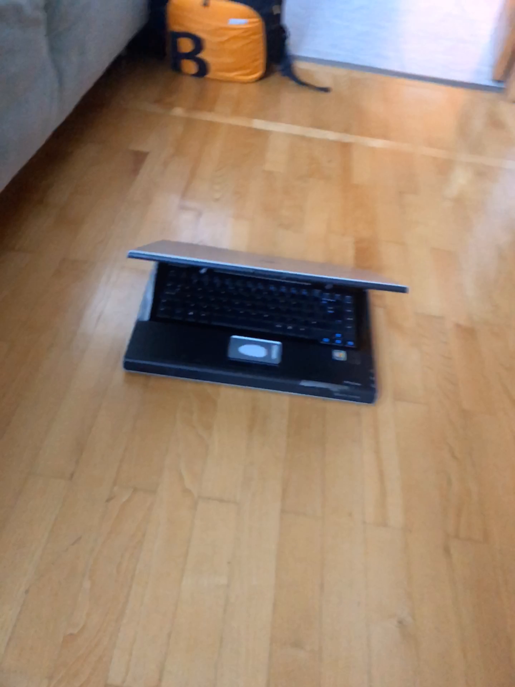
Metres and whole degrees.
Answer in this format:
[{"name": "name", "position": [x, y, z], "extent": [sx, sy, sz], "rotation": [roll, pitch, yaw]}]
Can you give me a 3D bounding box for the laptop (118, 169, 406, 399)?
[{"name": "laptop", "position": [0.010, -0.095, 0.837], "extent": [0.361, 0.147, 0.270], "rotation": [8, 47, -2]}]
